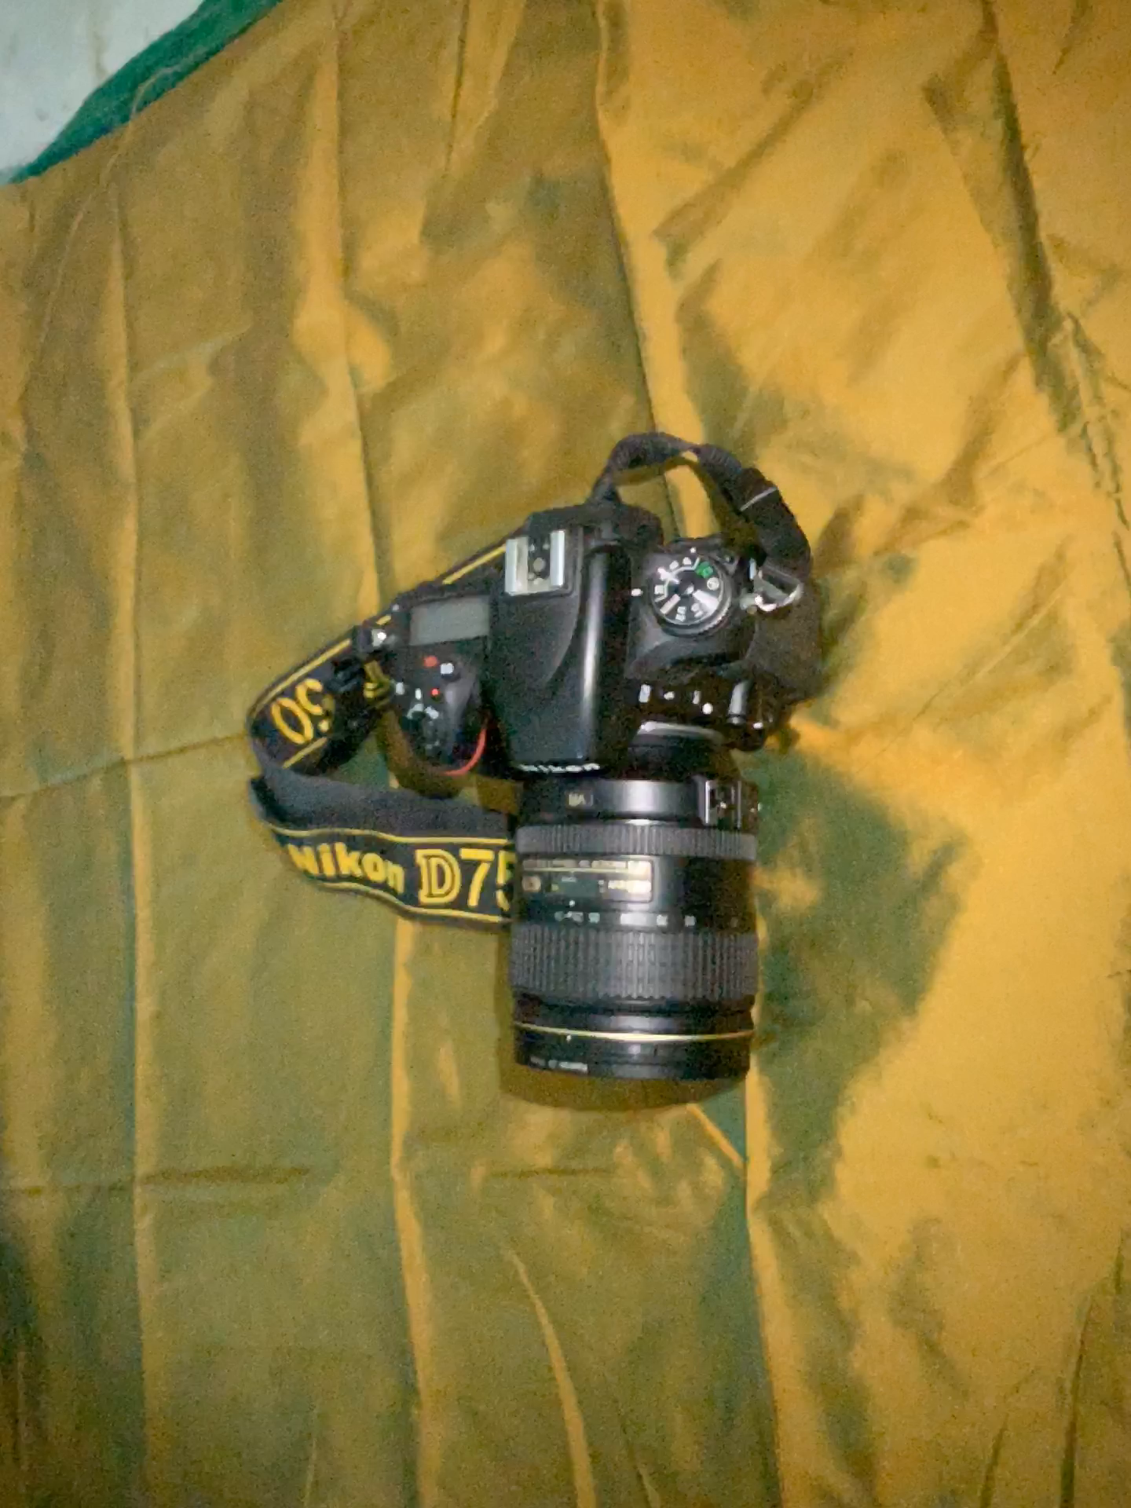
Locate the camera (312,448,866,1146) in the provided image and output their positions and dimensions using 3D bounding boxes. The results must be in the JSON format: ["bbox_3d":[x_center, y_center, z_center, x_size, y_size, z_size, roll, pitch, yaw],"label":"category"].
[{"bbox_3d":[0.008,0.021,0.396,0.151,0.101,0.190,-6,79,30],"label":"camera"}]
